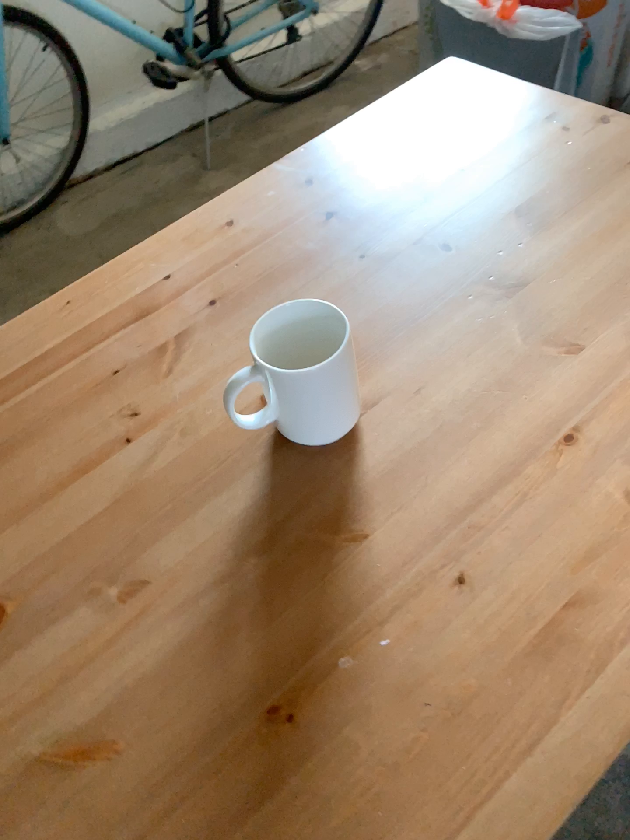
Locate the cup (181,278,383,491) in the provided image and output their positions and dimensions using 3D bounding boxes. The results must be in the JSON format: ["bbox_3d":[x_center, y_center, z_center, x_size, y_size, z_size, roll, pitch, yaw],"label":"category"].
[{"bbox_3d":[-0.025,-0.032,0.572,0.130,0.100,0.100,-33,56,-14],"label":"cup"}]
